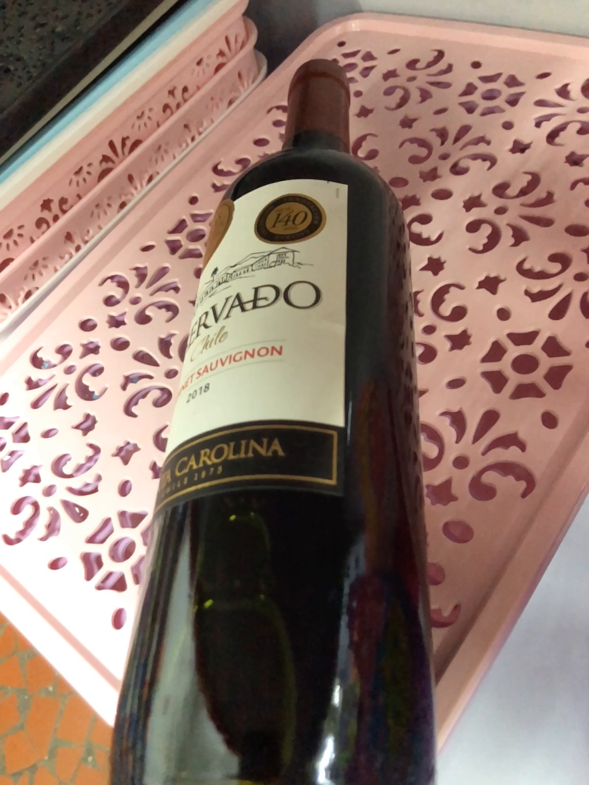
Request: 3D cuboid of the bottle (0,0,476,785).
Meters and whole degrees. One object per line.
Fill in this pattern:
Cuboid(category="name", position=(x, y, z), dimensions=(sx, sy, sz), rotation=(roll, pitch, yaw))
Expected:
Cuboid(category="bottle", position=(0.005, -0.043, 0.228), dimensions=(0.080, 0.060, 0.331), rotation=(-7, 50, 16))
